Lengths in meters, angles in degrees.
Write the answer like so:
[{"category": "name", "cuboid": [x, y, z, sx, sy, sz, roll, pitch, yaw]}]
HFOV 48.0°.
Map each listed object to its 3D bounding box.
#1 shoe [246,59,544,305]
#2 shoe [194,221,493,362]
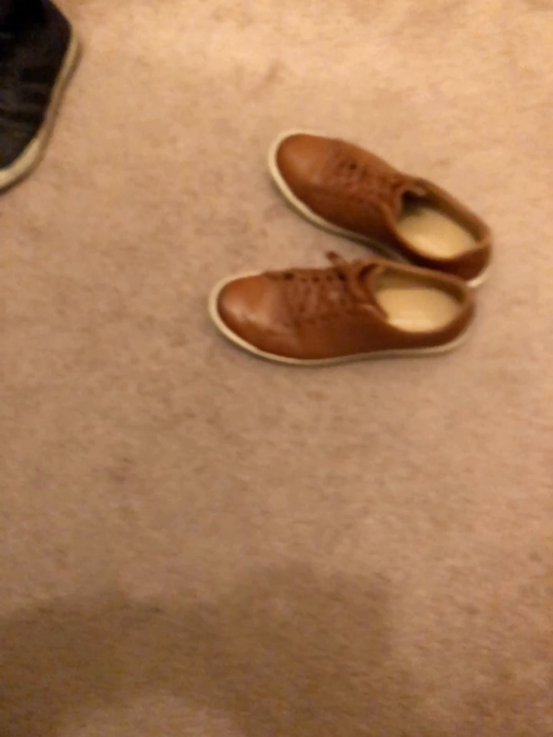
[{"category": "shoe", "cuboid": [0.122, -0.206, 0.692, 0.285, 0.103, 0.117, 31, 78, 11]}, {"category": "shoe", "cuboid": [0.066, -0.077, 0.659, 0.285, 0.100, 0.117, 0, 74, 3]}]
